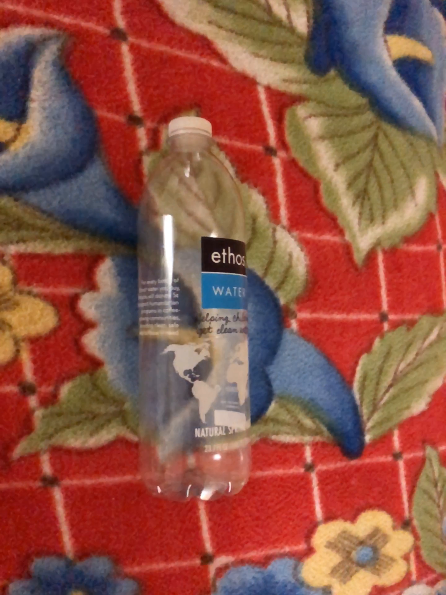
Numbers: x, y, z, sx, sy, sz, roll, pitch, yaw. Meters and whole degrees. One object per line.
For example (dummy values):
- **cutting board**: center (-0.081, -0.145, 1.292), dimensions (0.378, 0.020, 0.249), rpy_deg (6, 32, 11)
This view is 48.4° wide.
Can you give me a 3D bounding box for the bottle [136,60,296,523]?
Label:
- **bottle**: center (-0.004, -0.003, 0.307), dimensions (0.070, 0.070, 0.240), rpy_deg (0, 89, -45)
